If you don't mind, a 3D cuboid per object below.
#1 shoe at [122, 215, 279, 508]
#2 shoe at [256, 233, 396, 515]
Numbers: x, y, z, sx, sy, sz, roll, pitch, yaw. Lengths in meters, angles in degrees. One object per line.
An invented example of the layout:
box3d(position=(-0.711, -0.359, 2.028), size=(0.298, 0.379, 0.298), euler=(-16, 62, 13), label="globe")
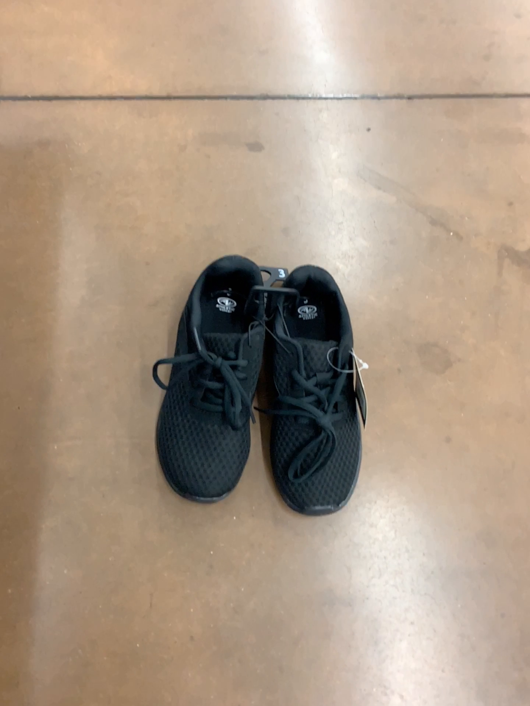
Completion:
box3d(position=(-0.047, 0.007, 0.464), size=(0.090, 0.080, 0.230), euler=(7, 69, -1), label="shoe")
box3d(position=(0.043, 0.017, 0.471), size=(0.090, 0.080, 0.230), euler=(-2, 70, -4), label="shoe")
